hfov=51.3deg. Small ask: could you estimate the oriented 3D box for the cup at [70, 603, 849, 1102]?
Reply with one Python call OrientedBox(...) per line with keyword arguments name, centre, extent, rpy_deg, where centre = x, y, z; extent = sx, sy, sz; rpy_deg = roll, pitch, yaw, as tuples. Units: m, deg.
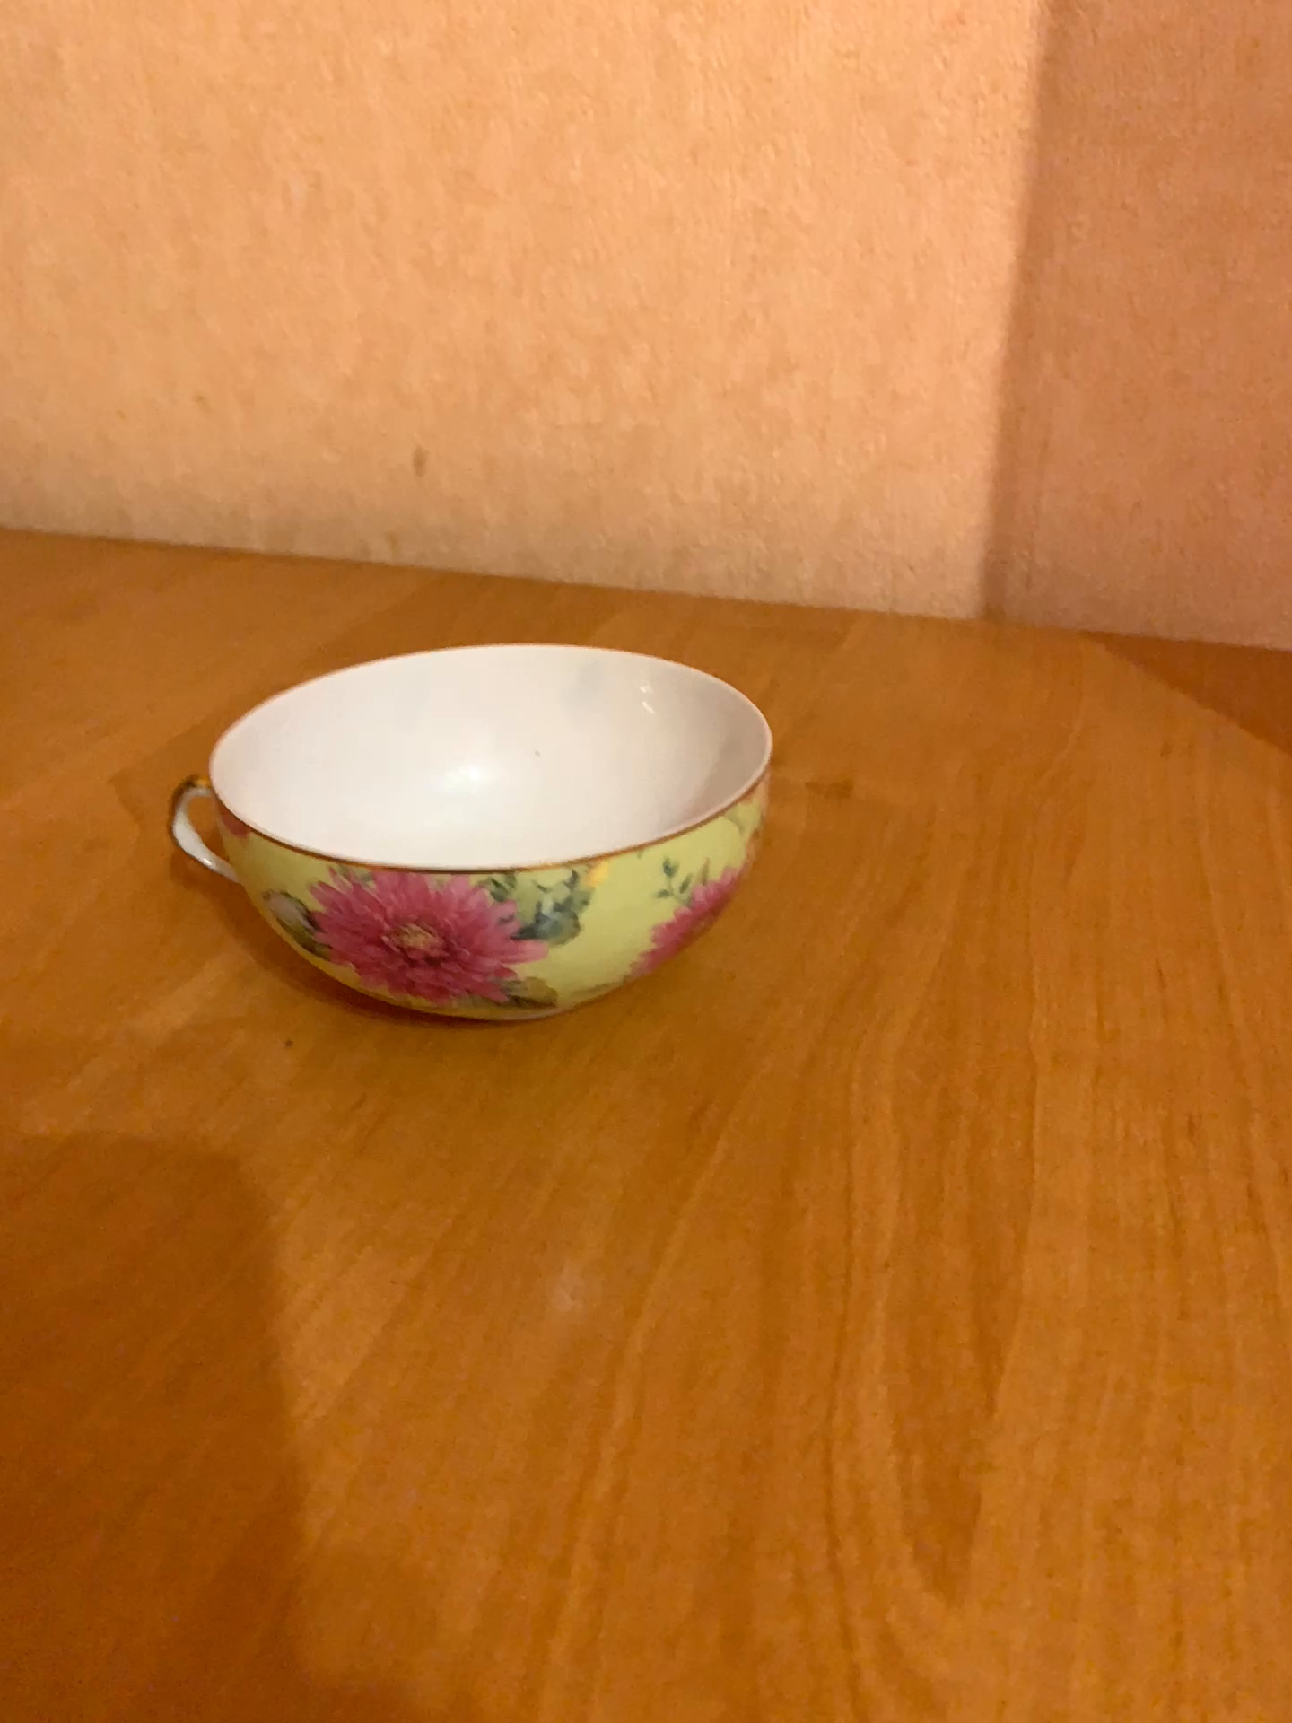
OrientedBox(name="cup", centre=(-0.028, -0.009, 0.247), extent=(0.113, 0.045, 0.079), rpy_deg=(9, 29, 18))
